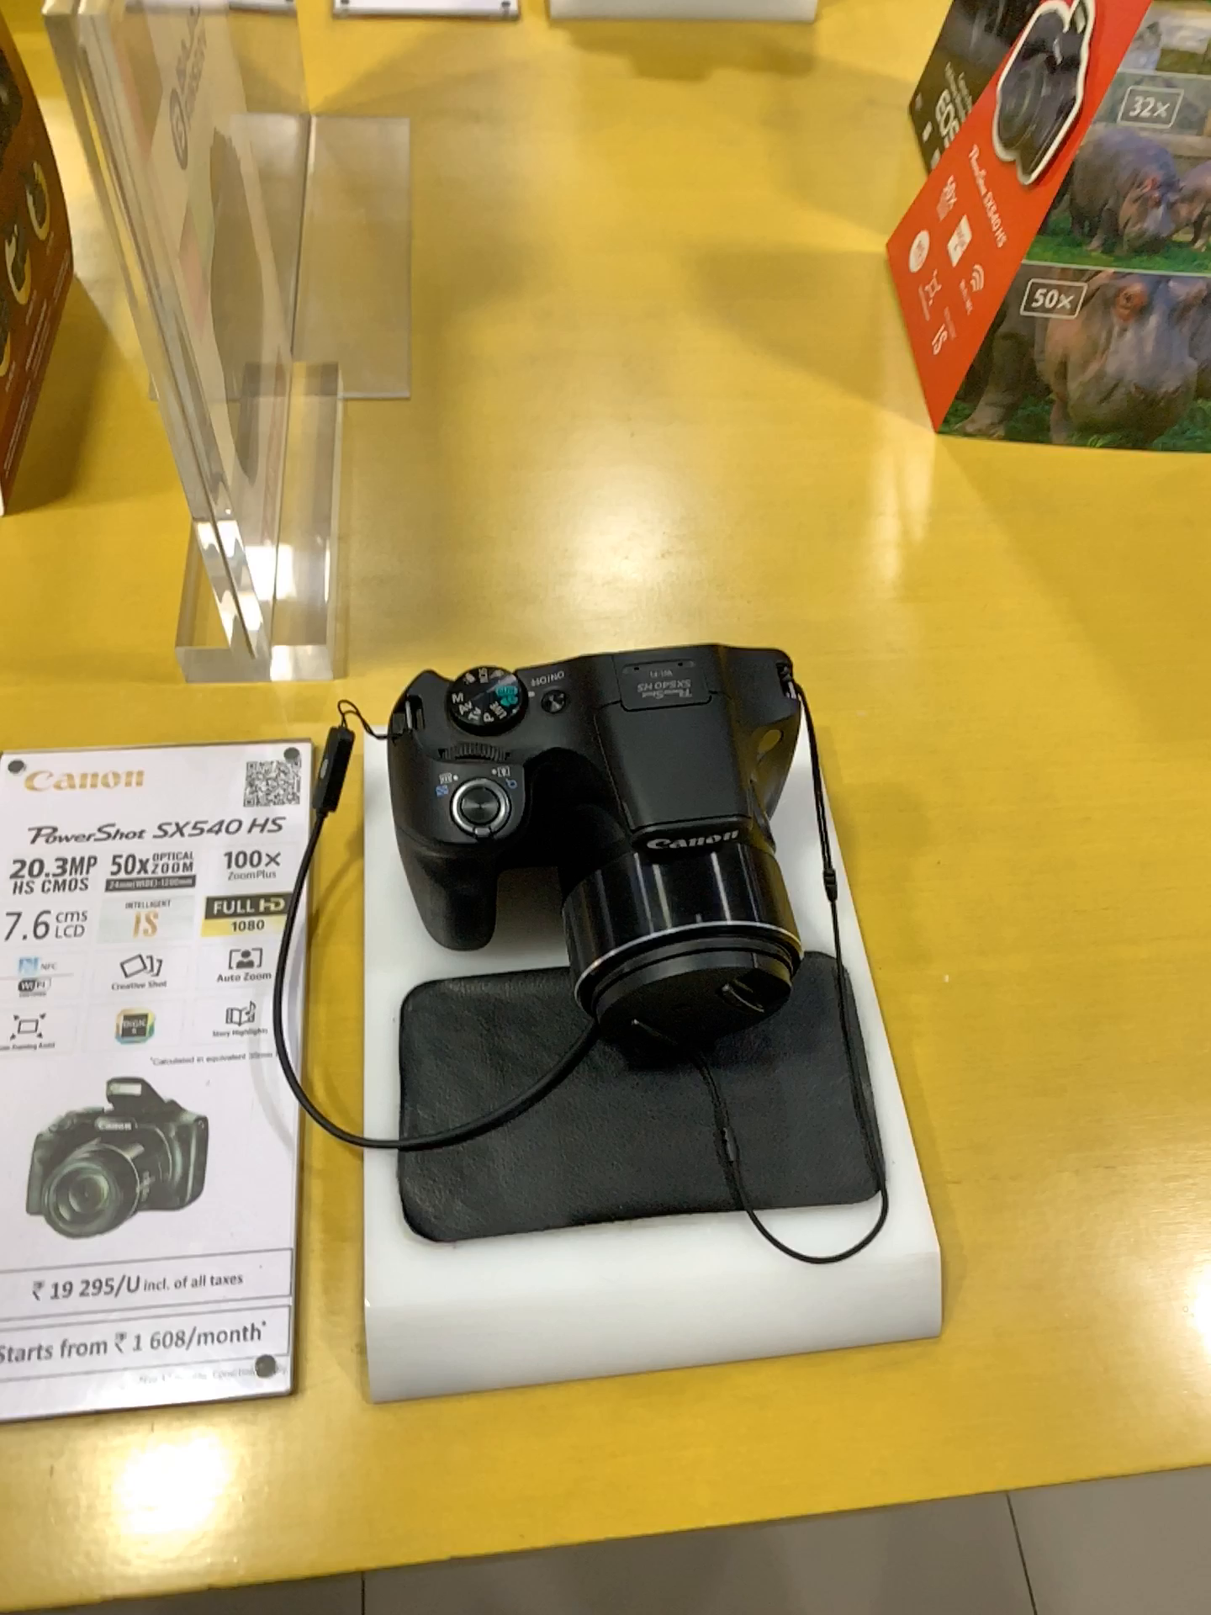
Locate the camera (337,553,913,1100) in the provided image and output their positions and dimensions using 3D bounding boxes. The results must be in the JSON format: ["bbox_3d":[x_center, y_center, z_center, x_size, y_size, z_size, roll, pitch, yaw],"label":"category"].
[{"bbox_3d":[-0.002,0.003,0.326,0.120,0.070,0.110,-7,59,-8],"label":"camera"}]
